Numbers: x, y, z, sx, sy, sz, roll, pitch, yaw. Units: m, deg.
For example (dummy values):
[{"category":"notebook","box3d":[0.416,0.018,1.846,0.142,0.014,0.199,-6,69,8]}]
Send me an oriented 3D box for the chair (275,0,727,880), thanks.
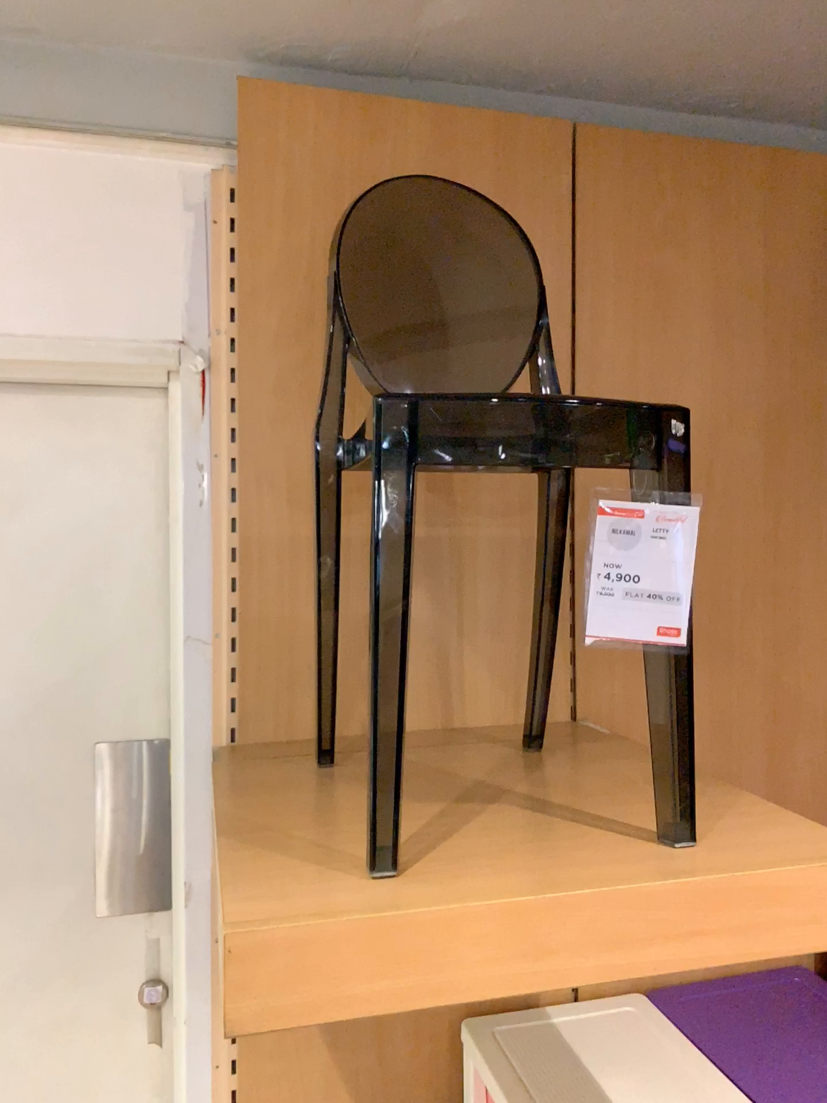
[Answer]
[{"category":"chair","box3d":[0.061,-0.133,1.045,0.400,0.850,0.470,0,0,-16]}]
